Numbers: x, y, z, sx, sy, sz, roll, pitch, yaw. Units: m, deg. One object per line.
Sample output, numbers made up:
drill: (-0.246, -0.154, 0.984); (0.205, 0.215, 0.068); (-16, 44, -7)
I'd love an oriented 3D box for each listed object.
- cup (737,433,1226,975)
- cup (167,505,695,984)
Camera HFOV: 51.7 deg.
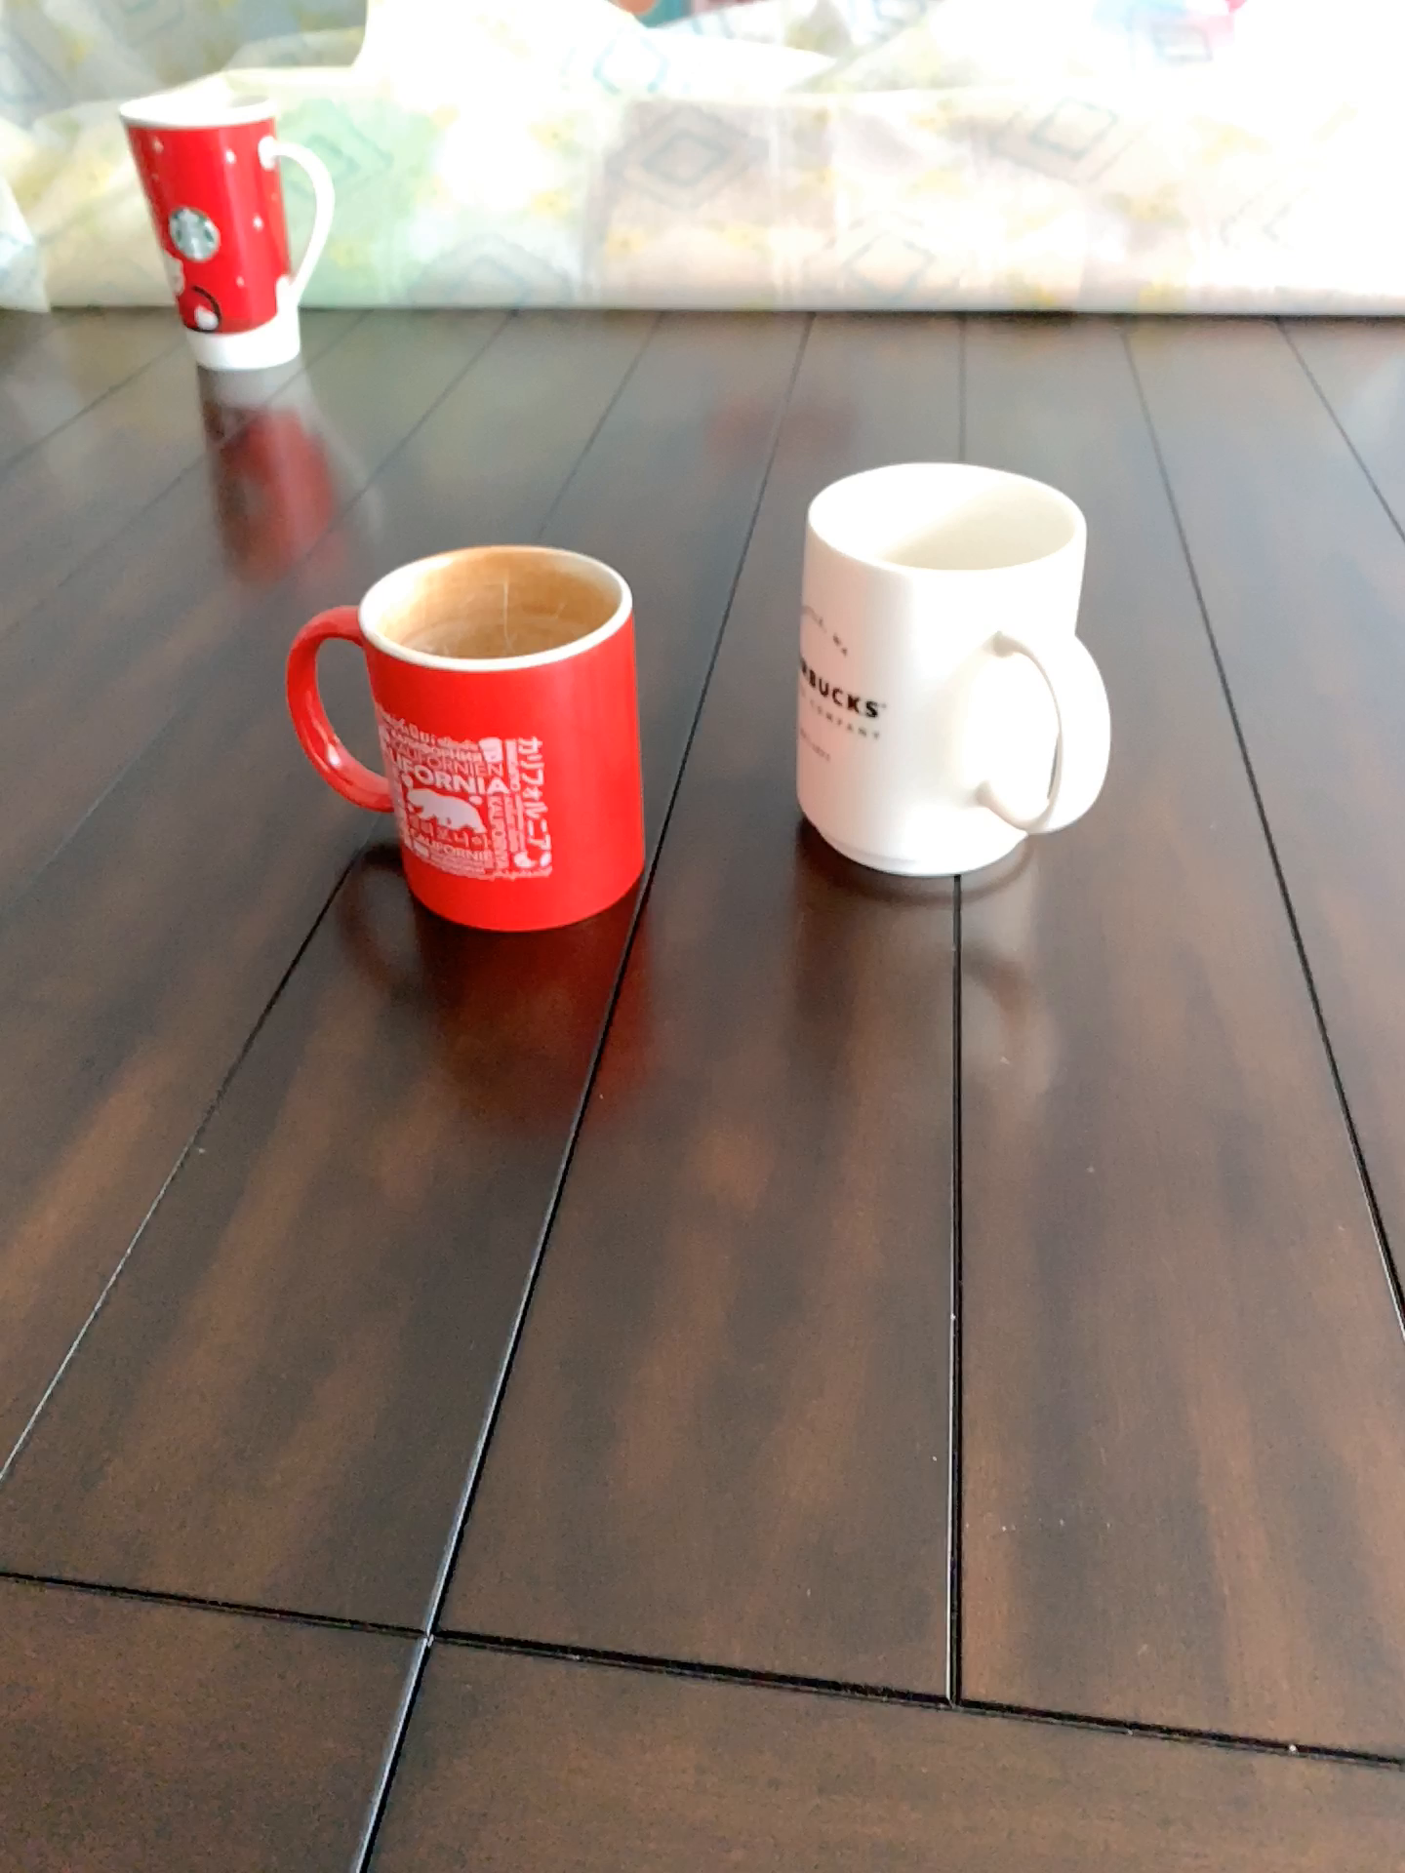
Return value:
cup: (0.078, -0.079, 0.461); (0.080, 0.109, 0.131); (-19, 41, -21)
cup: (-0.082, -0.067, 0.473); (0.130, 0.099, 0.090); (16, 41, 21)
